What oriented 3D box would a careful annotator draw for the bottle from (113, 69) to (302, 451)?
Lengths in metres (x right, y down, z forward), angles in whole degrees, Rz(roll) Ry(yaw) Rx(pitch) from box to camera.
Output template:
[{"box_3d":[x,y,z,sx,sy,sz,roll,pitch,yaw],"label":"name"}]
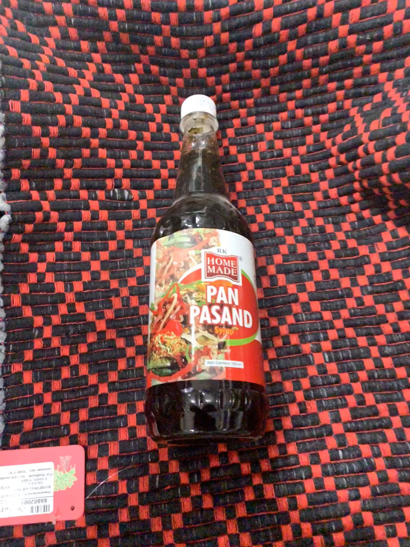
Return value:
[{"box_3d":[0.001,-0.028,0.310,0.090,0.080,0.281,-2,58,1],"label":"bottle"}]
